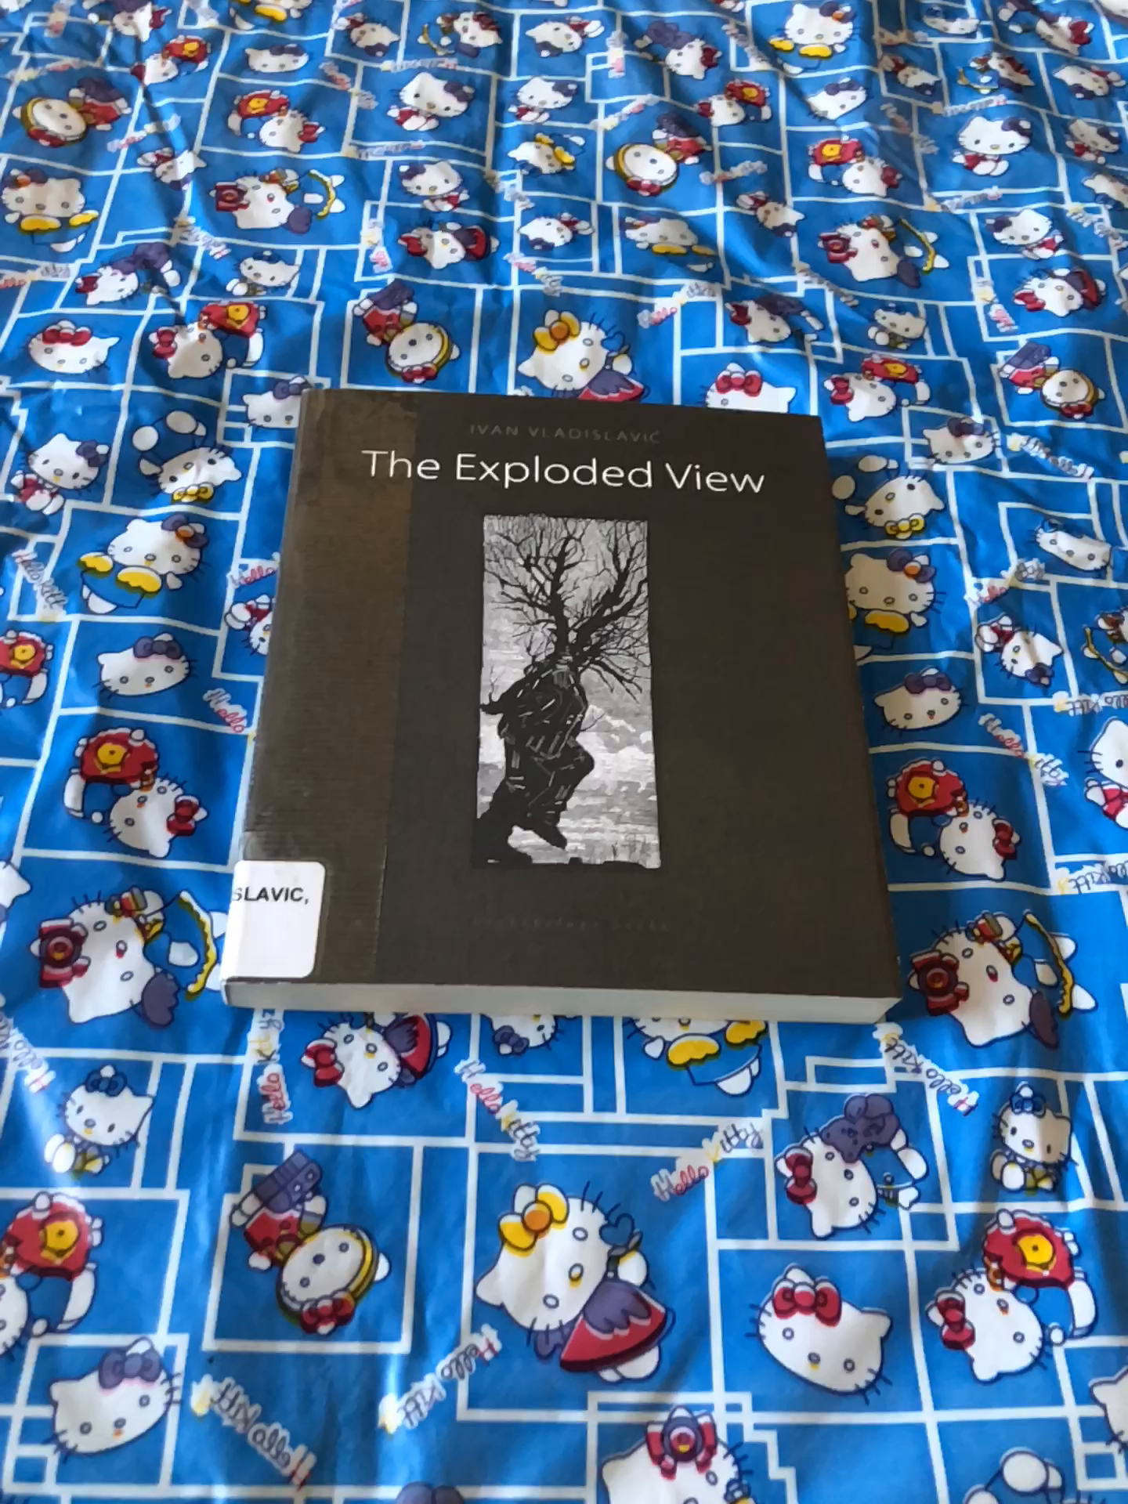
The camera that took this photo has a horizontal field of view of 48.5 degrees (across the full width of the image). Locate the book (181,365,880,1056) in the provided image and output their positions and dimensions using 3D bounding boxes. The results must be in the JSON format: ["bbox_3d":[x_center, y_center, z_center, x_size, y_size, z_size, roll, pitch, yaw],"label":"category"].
[{"bbox_3d":[-0.005,-0.017,0.299,0.140,0.020,0.170,3,63,-4],"label":"book"}]
